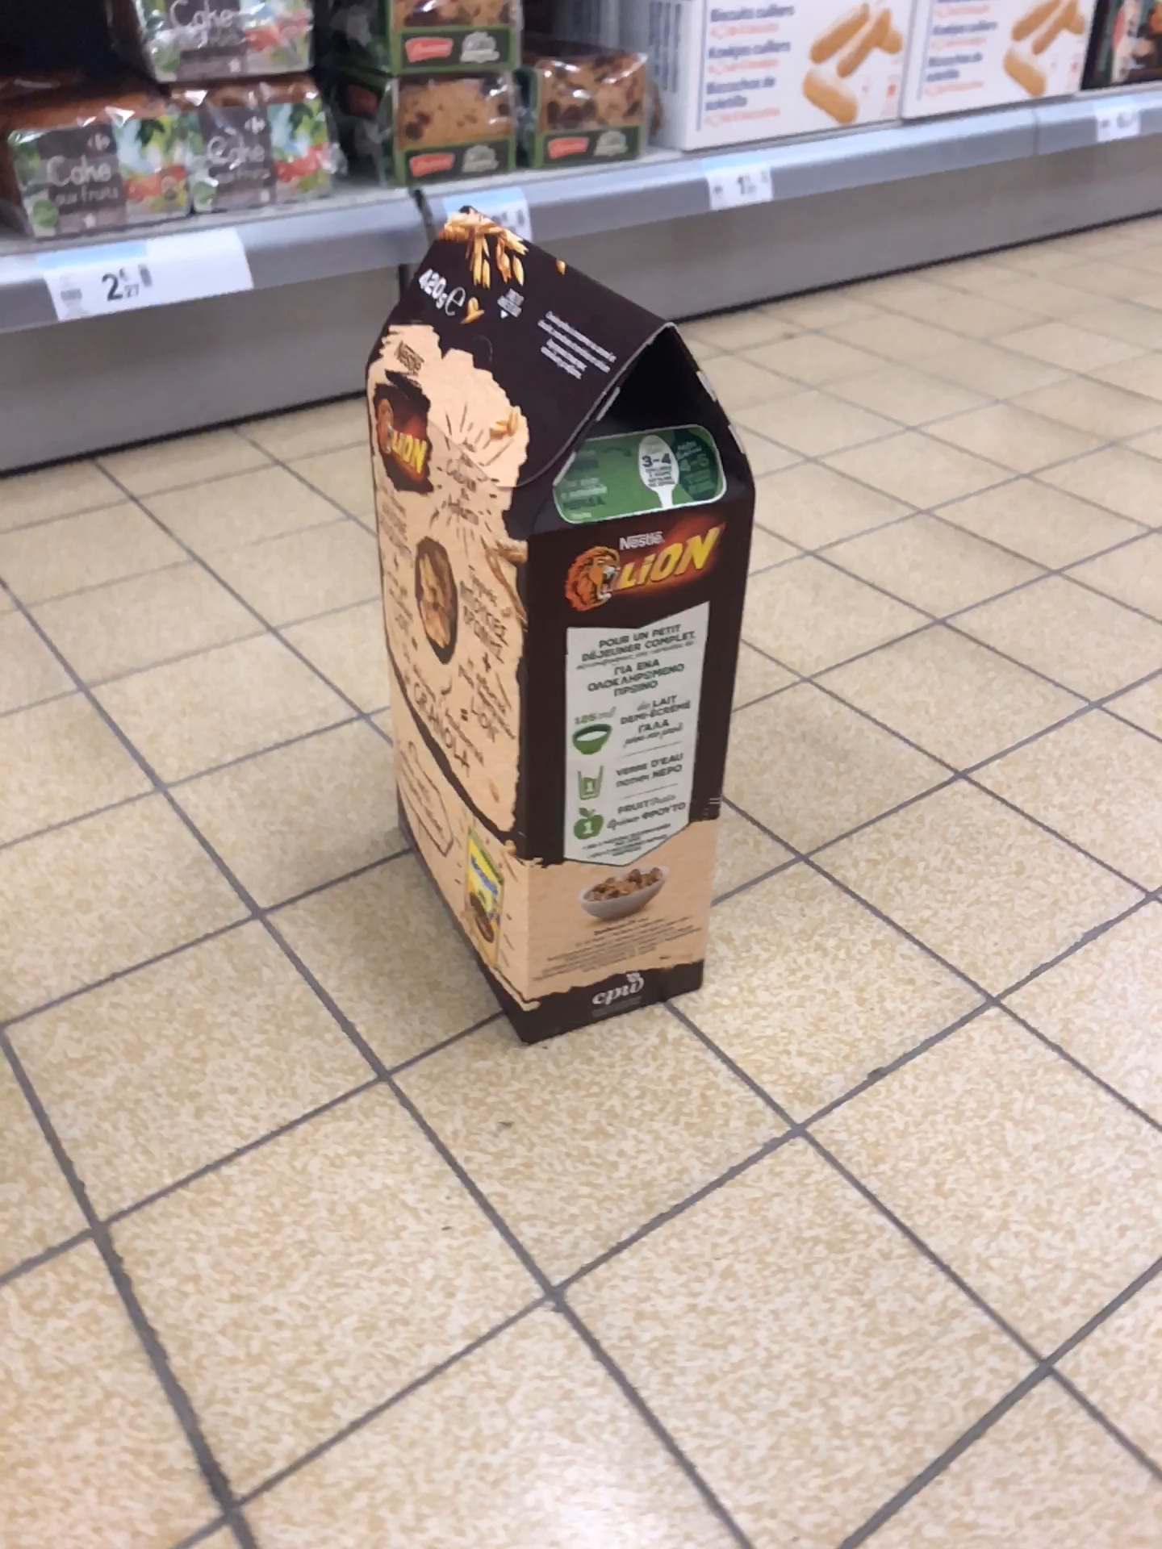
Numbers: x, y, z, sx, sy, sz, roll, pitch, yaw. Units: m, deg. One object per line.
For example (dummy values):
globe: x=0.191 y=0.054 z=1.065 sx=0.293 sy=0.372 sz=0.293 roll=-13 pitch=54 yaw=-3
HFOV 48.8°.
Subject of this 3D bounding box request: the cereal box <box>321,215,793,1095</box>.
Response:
cereal box: x=-0.016 y=-0.040 z=0.440 sx=0.080 sy=0.248 sz=0.151 roll=-15 pitch=39 yaw=-21
